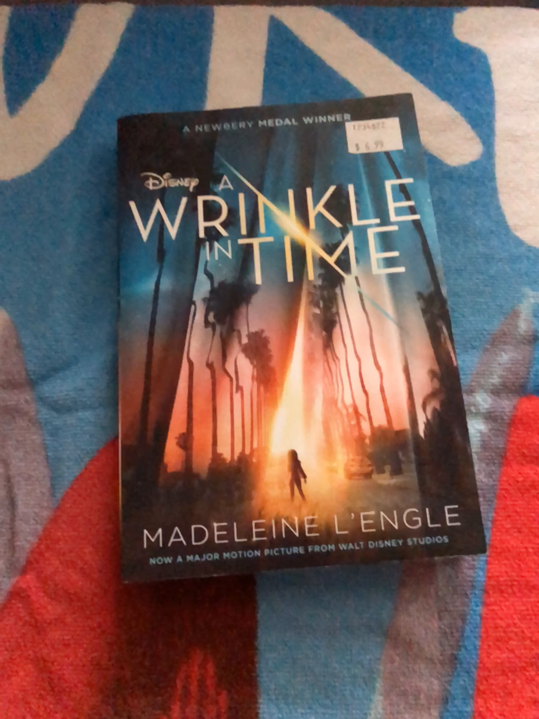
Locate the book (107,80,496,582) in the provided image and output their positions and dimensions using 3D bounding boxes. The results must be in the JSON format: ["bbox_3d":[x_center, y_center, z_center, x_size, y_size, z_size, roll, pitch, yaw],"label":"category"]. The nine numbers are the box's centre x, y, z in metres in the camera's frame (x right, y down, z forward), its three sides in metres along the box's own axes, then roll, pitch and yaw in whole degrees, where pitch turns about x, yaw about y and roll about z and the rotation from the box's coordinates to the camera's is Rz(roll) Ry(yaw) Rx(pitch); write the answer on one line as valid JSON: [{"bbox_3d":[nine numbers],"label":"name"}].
[{"bbox_3d":[0.006,-0.017,0.249,0.138,0.031,0.195,-4,77,1],"label":"book"}]
